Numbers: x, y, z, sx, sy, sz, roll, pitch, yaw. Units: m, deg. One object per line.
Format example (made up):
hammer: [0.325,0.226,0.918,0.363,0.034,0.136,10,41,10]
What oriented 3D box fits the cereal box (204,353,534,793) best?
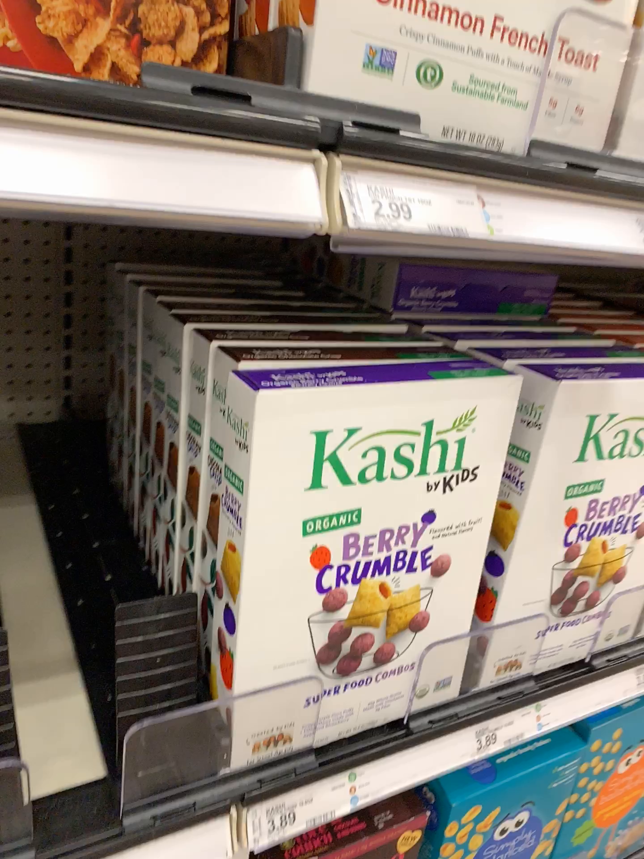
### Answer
cereal box: [0.027,0.092,0.455,0.190,0.279,0.050,-5,24,-30]
